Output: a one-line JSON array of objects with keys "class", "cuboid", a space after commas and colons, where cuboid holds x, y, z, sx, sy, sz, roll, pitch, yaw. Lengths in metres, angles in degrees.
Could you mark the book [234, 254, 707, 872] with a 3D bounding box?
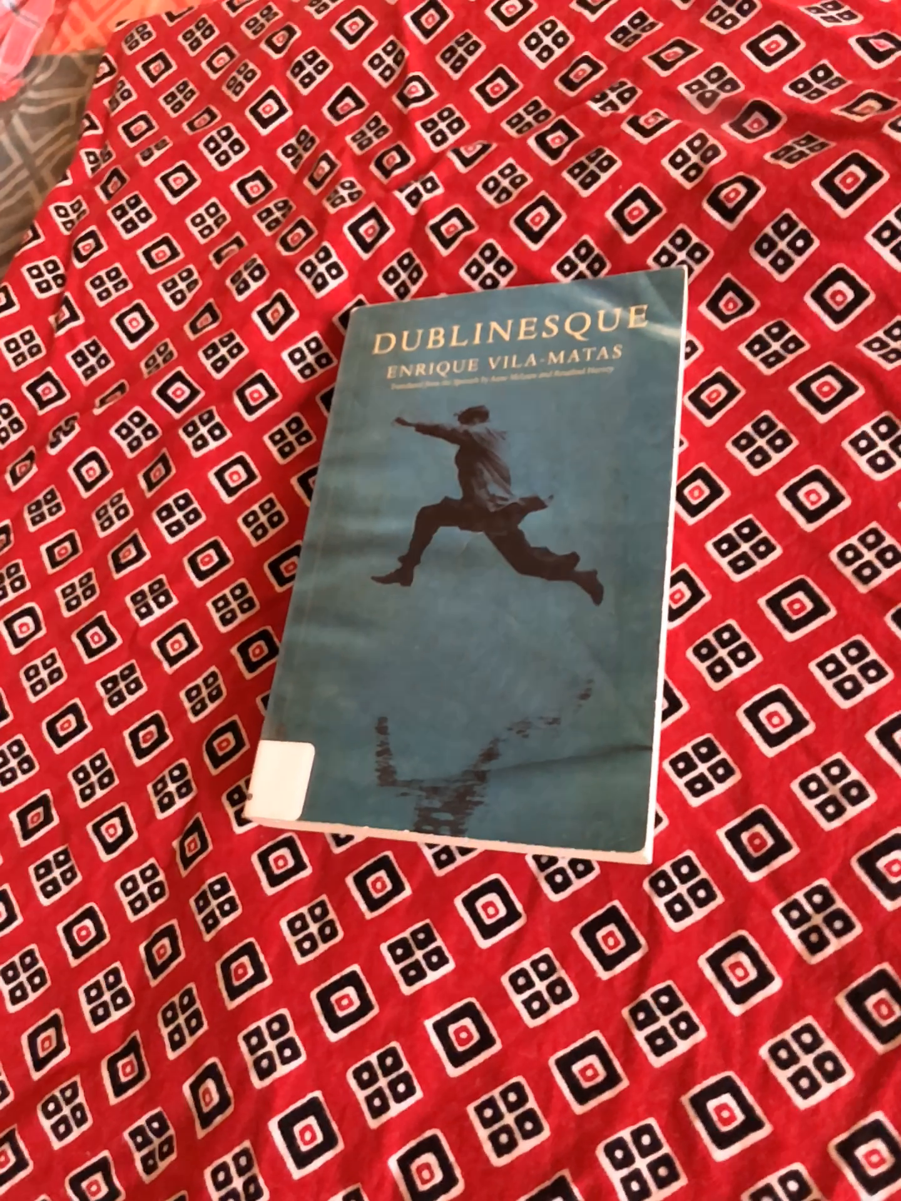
[{"class": "book", "cuboid": [0.010, -0.020, 0.342, 0.137, 0.020, 0.203, 0, 69, 22]}]
